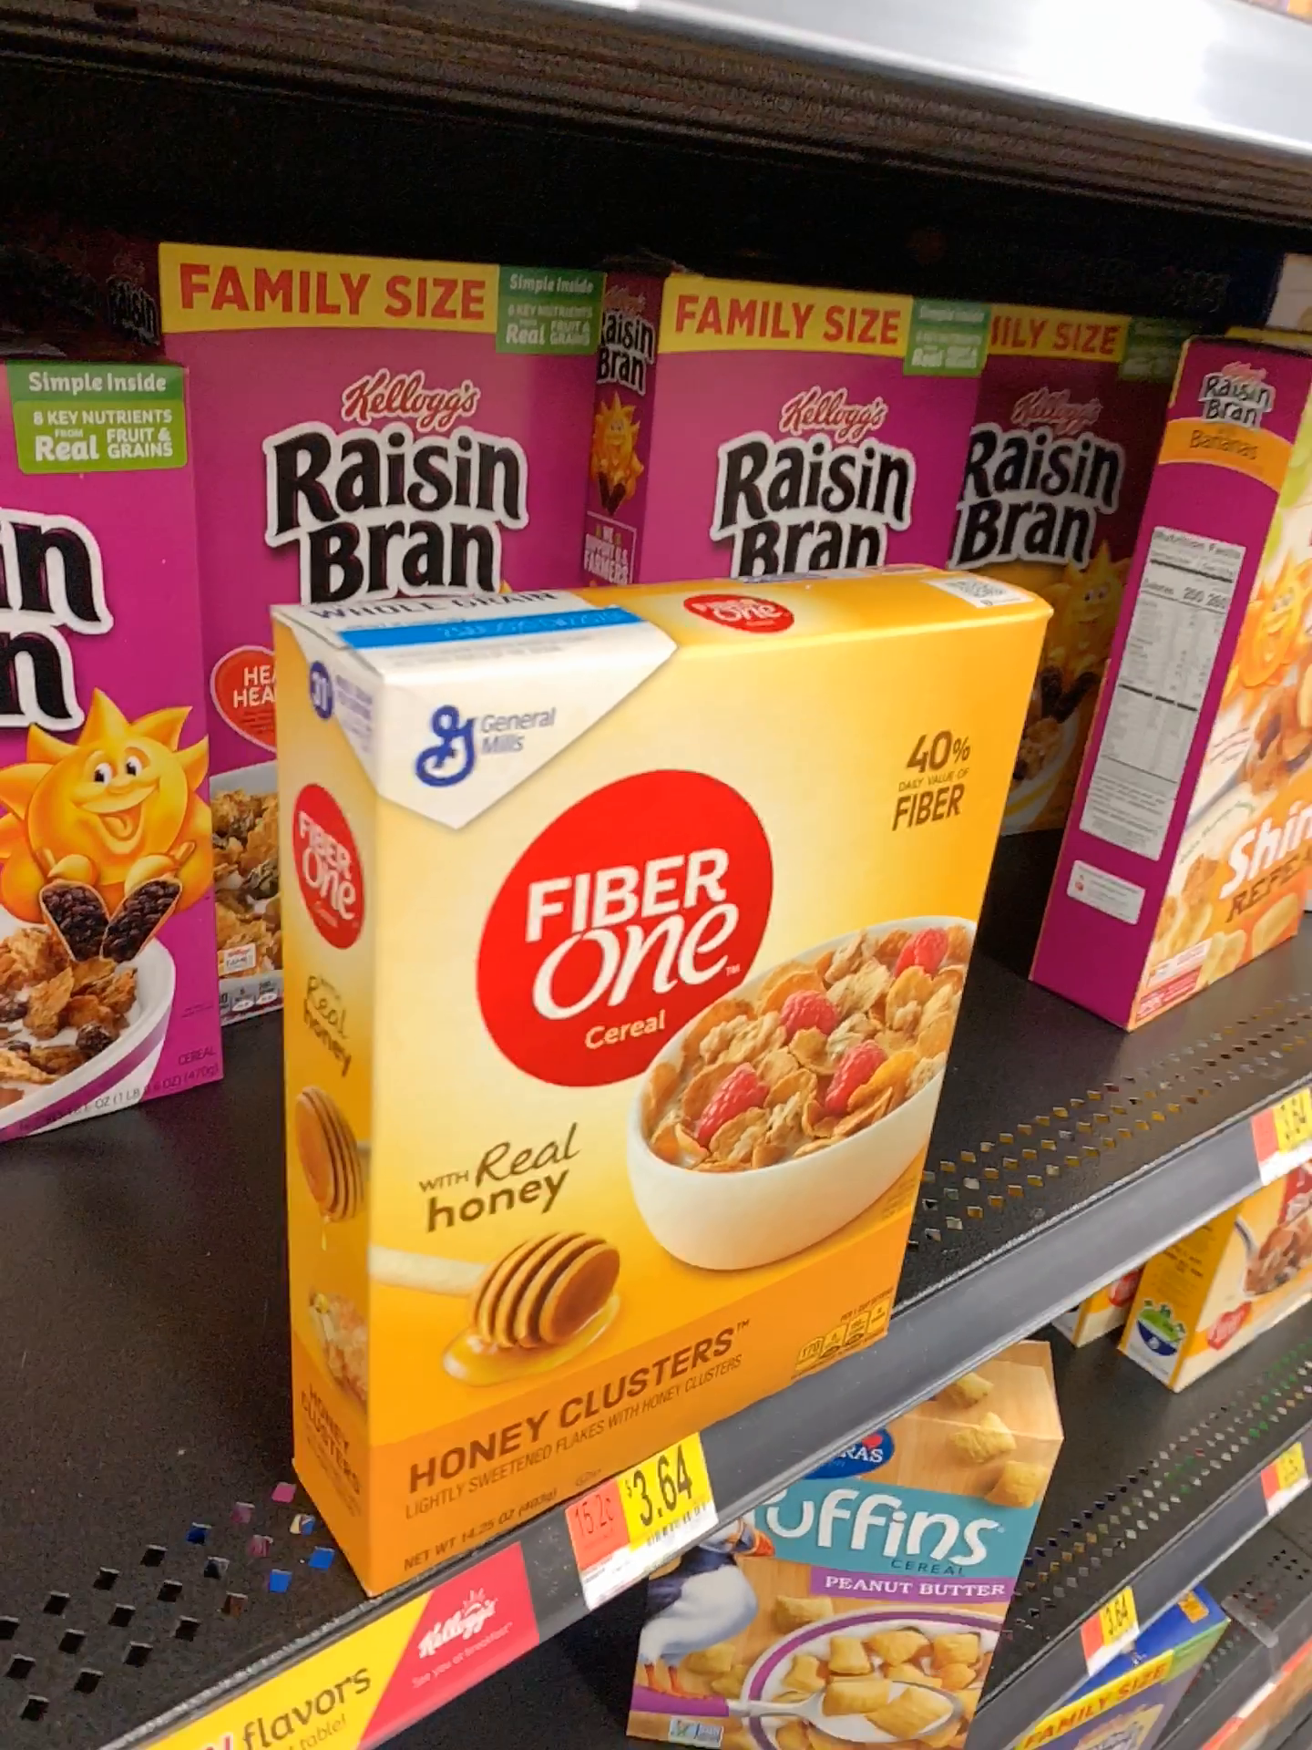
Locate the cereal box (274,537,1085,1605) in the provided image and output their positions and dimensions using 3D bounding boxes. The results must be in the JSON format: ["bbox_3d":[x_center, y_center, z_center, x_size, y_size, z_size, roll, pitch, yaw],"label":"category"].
[{"bbox_3d":[0.005,0.047,0.373,0.200,0.259,0.050,-13,31,-33],"label":"cereal box"}]
